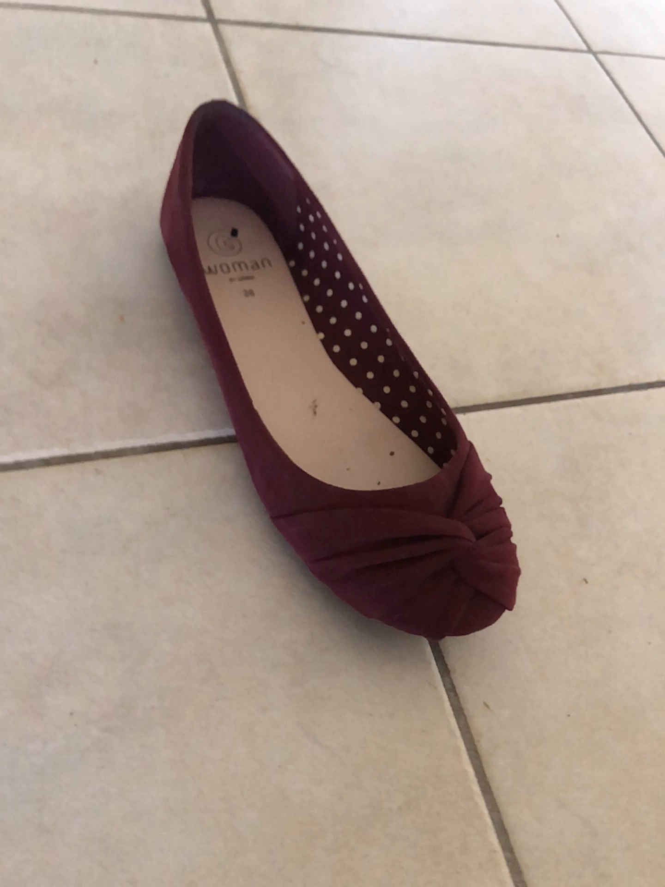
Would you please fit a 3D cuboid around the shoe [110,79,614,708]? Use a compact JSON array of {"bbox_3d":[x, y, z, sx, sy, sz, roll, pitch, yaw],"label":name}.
[{"bbox_3d":[-0.007,-0.033,0.312,0.082,0.080,0.251,-21,67,-22],"label":"shoe"}]
